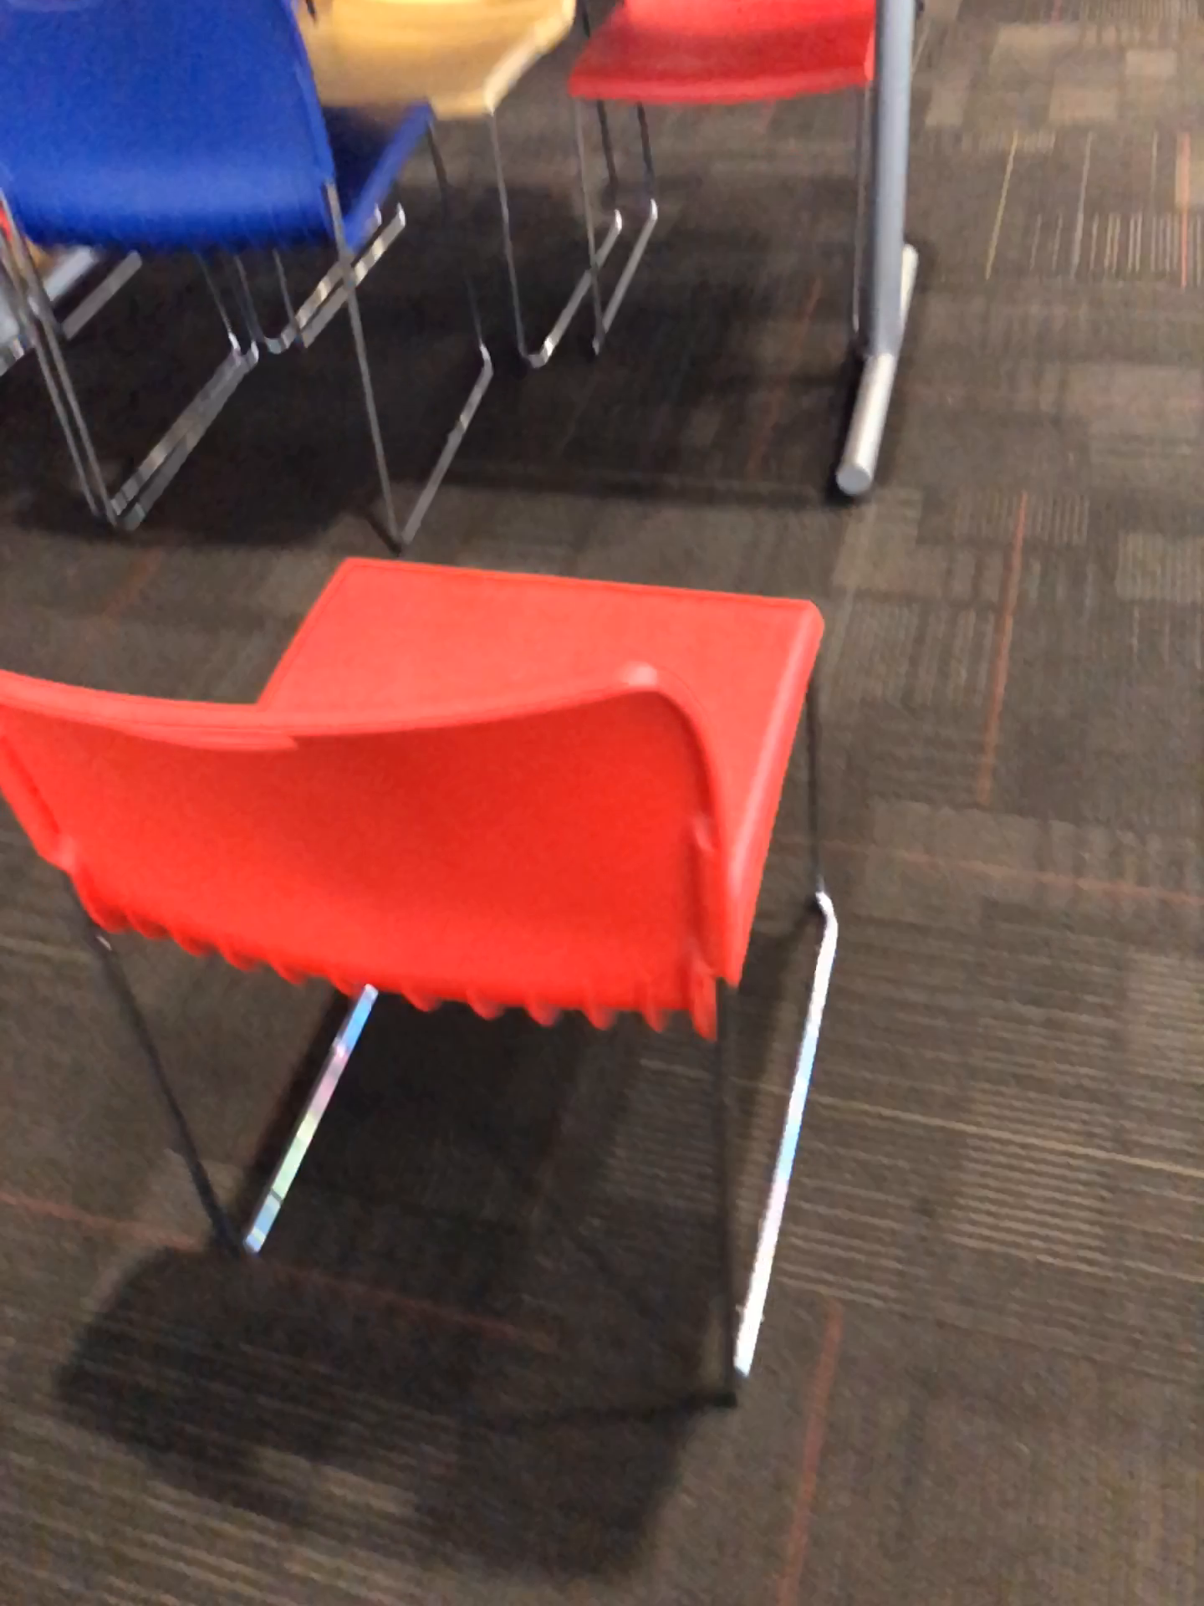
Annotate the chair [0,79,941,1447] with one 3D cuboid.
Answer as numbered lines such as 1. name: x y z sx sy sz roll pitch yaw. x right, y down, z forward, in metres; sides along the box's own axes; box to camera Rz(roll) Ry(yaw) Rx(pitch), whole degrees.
1. chair: -0.093 -0.023 1.019 0.561 0.766 0.612 8 49 17
